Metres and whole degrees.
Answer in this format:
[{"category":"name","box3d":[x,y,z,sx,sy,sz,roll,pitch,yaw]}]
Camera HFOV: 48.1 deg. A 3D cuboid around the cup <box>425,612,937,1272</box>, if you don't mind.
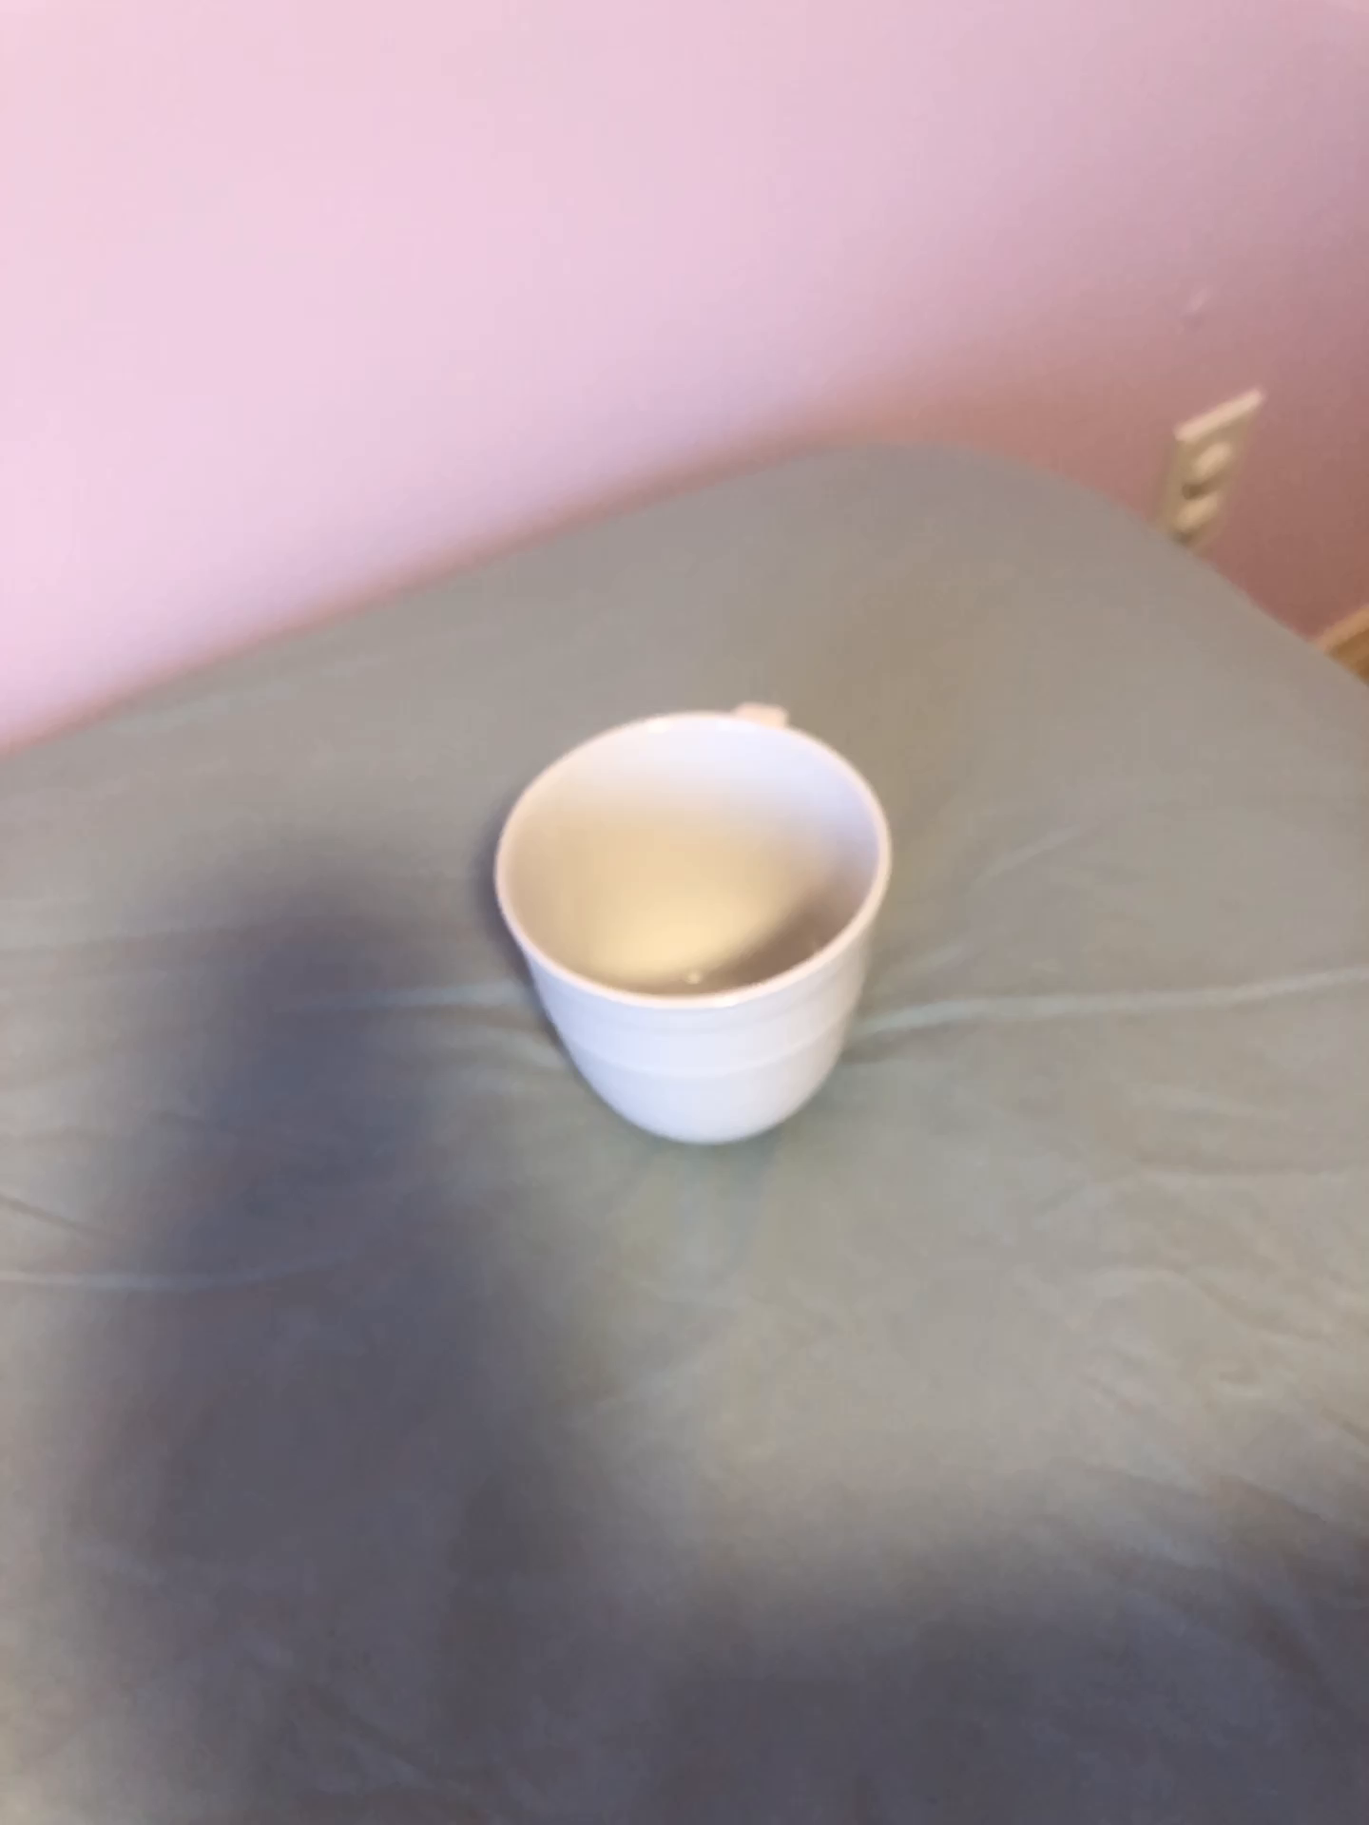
[{"category":"cup","box3d":[0.006,0.006,0.435,0.100,0.100,0.140,10,53,11]}]
